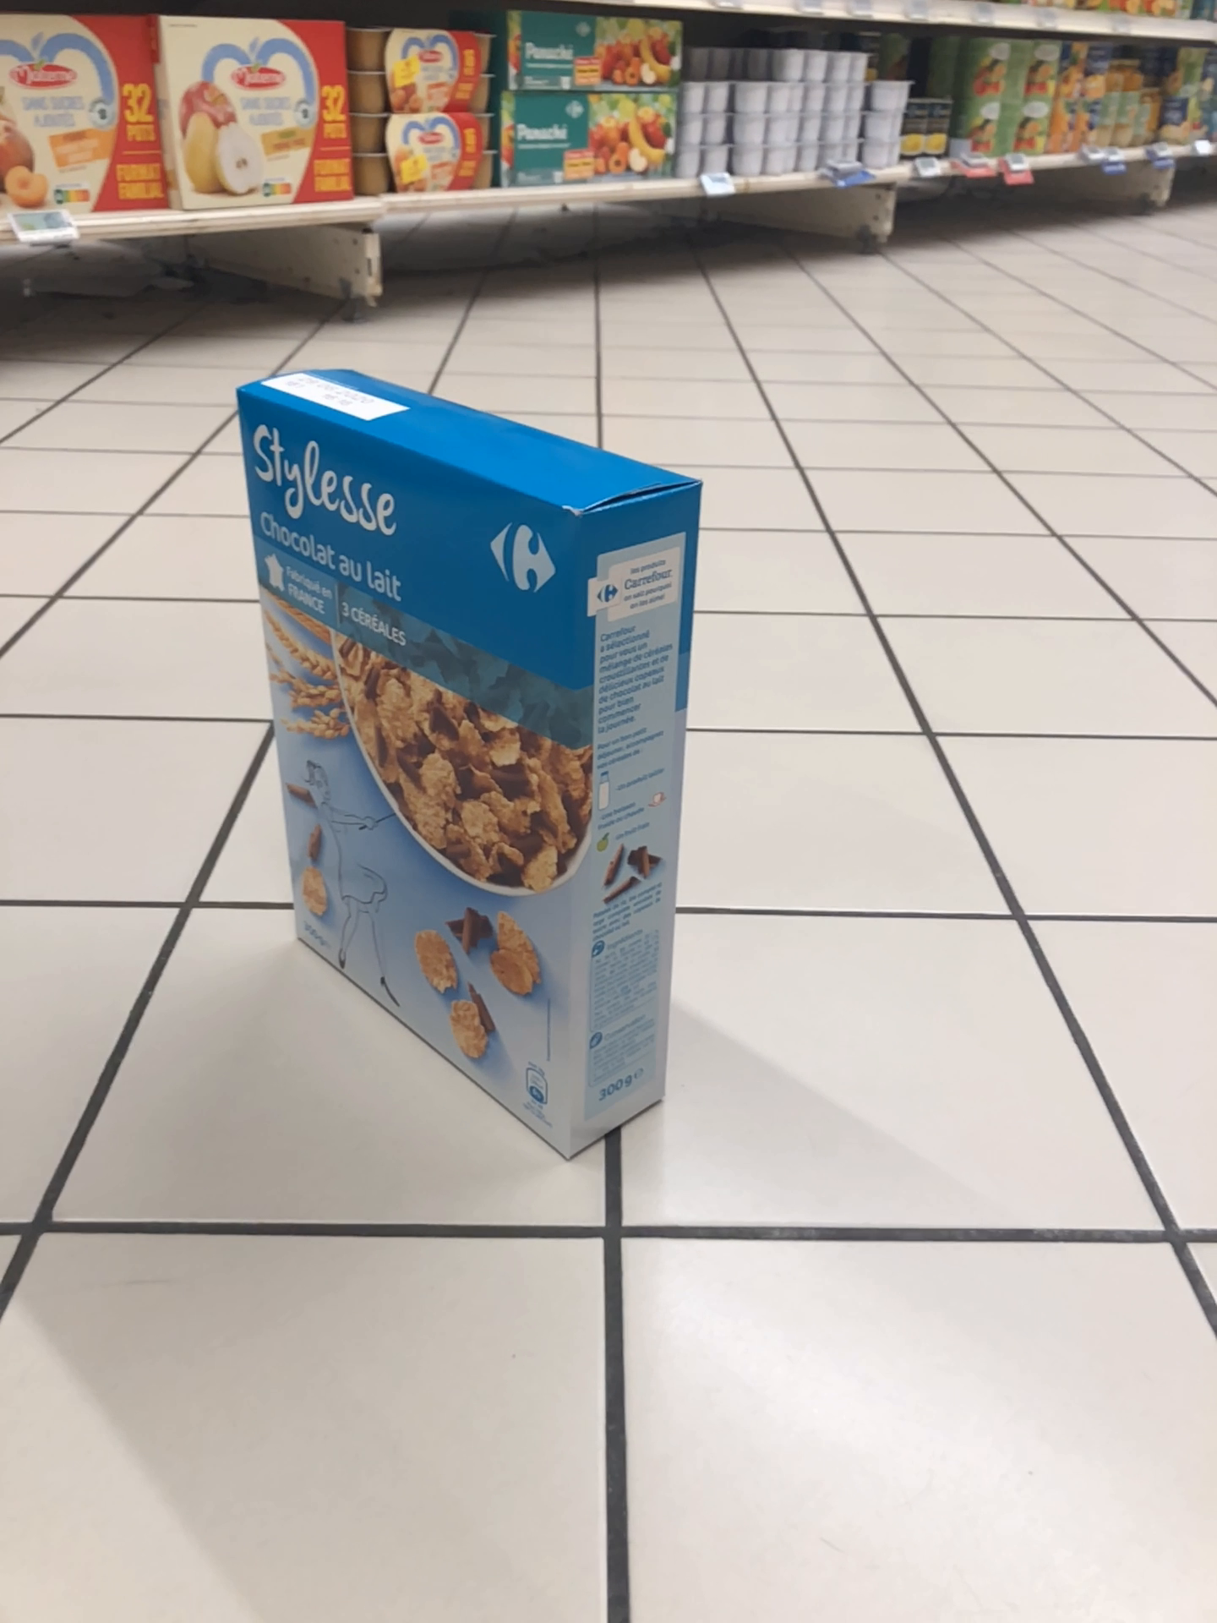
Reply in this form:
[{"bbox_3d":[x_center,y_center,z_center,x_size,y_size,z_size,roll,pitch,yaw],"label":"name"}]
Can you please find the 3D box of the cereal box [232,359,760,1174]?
[{"bbox_3d":[-0.050,-0.025,0.515,0.070,0.249,0.200,-23,37,-37],"label":"cereal box"}]
